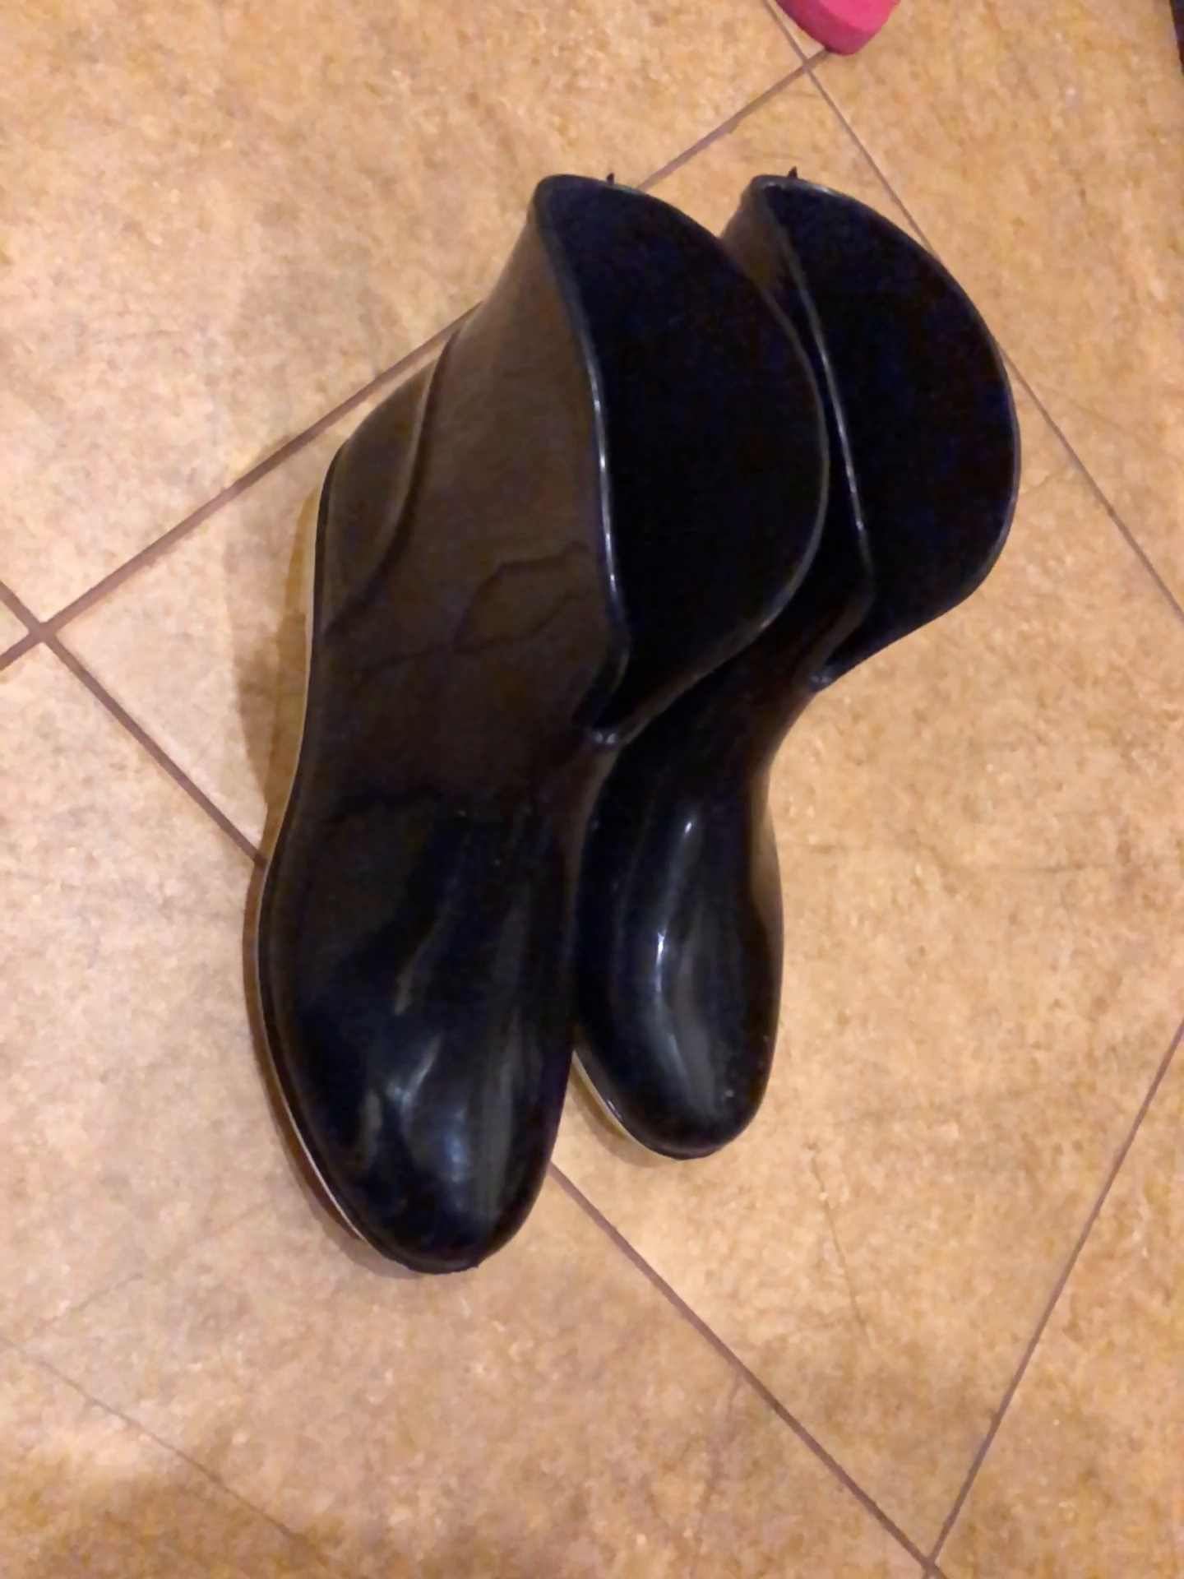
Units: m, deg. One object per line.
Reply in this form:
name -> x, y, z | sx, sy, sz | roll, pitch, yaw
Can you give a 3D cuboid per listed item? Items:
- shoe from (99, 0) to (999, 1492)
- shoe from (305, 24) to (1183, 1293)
shoe -> -0.042, -0.012, 0.341 | 0.110, 0.229, 0.280 | 0, 79, -32
shoe -> 0.026, -0.019, 0.404 | 0.110, 0.229, 0.280 | -7, 83, -33
